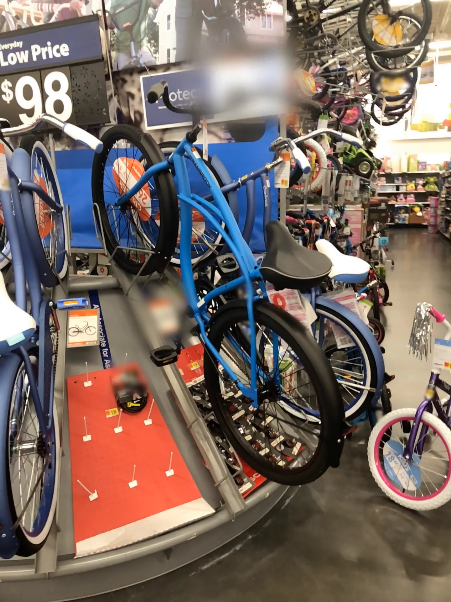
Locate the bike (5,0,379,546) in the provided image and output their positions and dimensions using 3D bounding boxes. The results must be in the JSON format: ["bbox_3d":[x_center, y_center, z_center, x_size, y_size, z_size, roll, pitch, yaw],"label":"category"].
[{"bbox_3d":[-0.158,-0.567,1.743,0.505,1.121,1.563,-12,42,-43],"label":"bike"}]
